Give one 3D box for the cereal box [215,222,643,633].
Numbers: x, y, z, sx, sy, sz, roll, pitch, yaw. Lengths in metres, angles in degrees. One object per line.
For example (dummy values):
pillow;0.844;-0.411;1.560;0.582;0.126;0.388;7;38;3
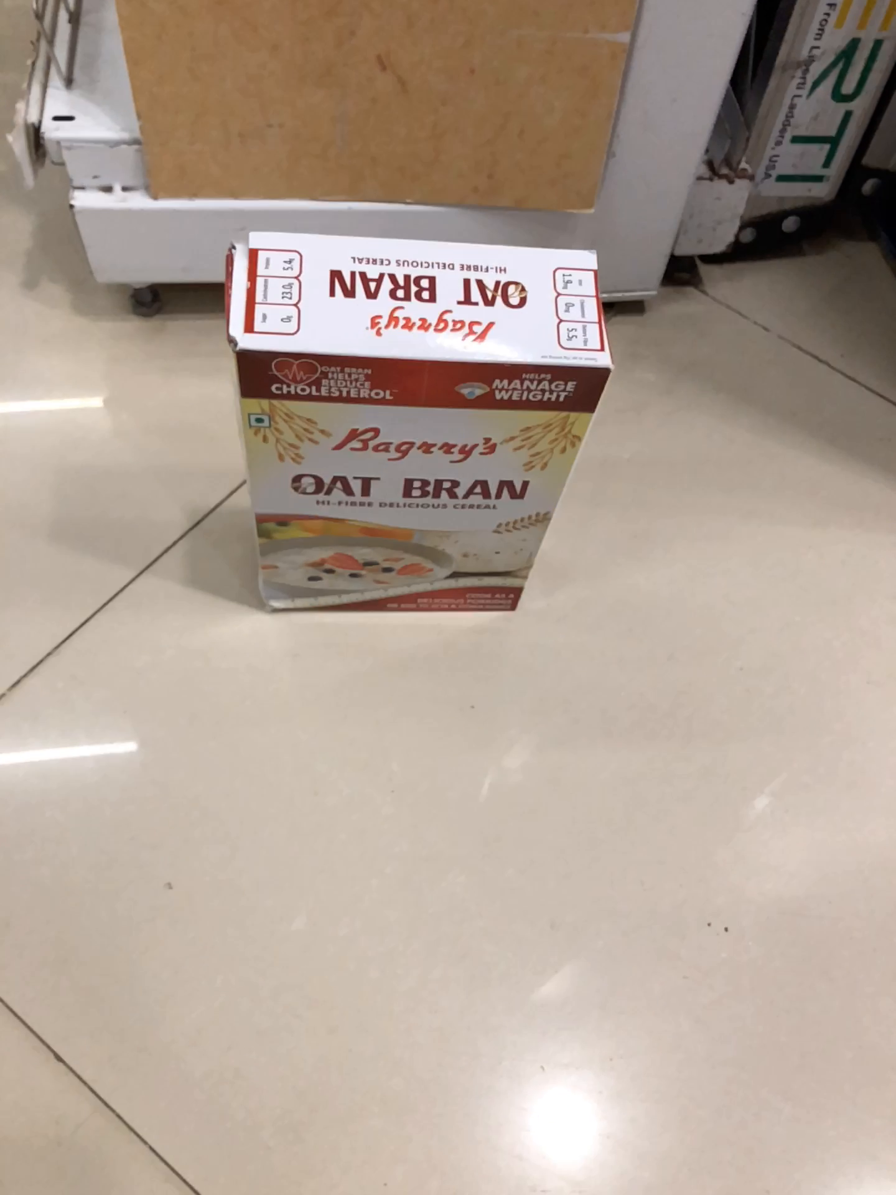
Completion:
cereal box;-0.013;-0.061;0.453;0.150;0.209;0.060;3;61;-3
